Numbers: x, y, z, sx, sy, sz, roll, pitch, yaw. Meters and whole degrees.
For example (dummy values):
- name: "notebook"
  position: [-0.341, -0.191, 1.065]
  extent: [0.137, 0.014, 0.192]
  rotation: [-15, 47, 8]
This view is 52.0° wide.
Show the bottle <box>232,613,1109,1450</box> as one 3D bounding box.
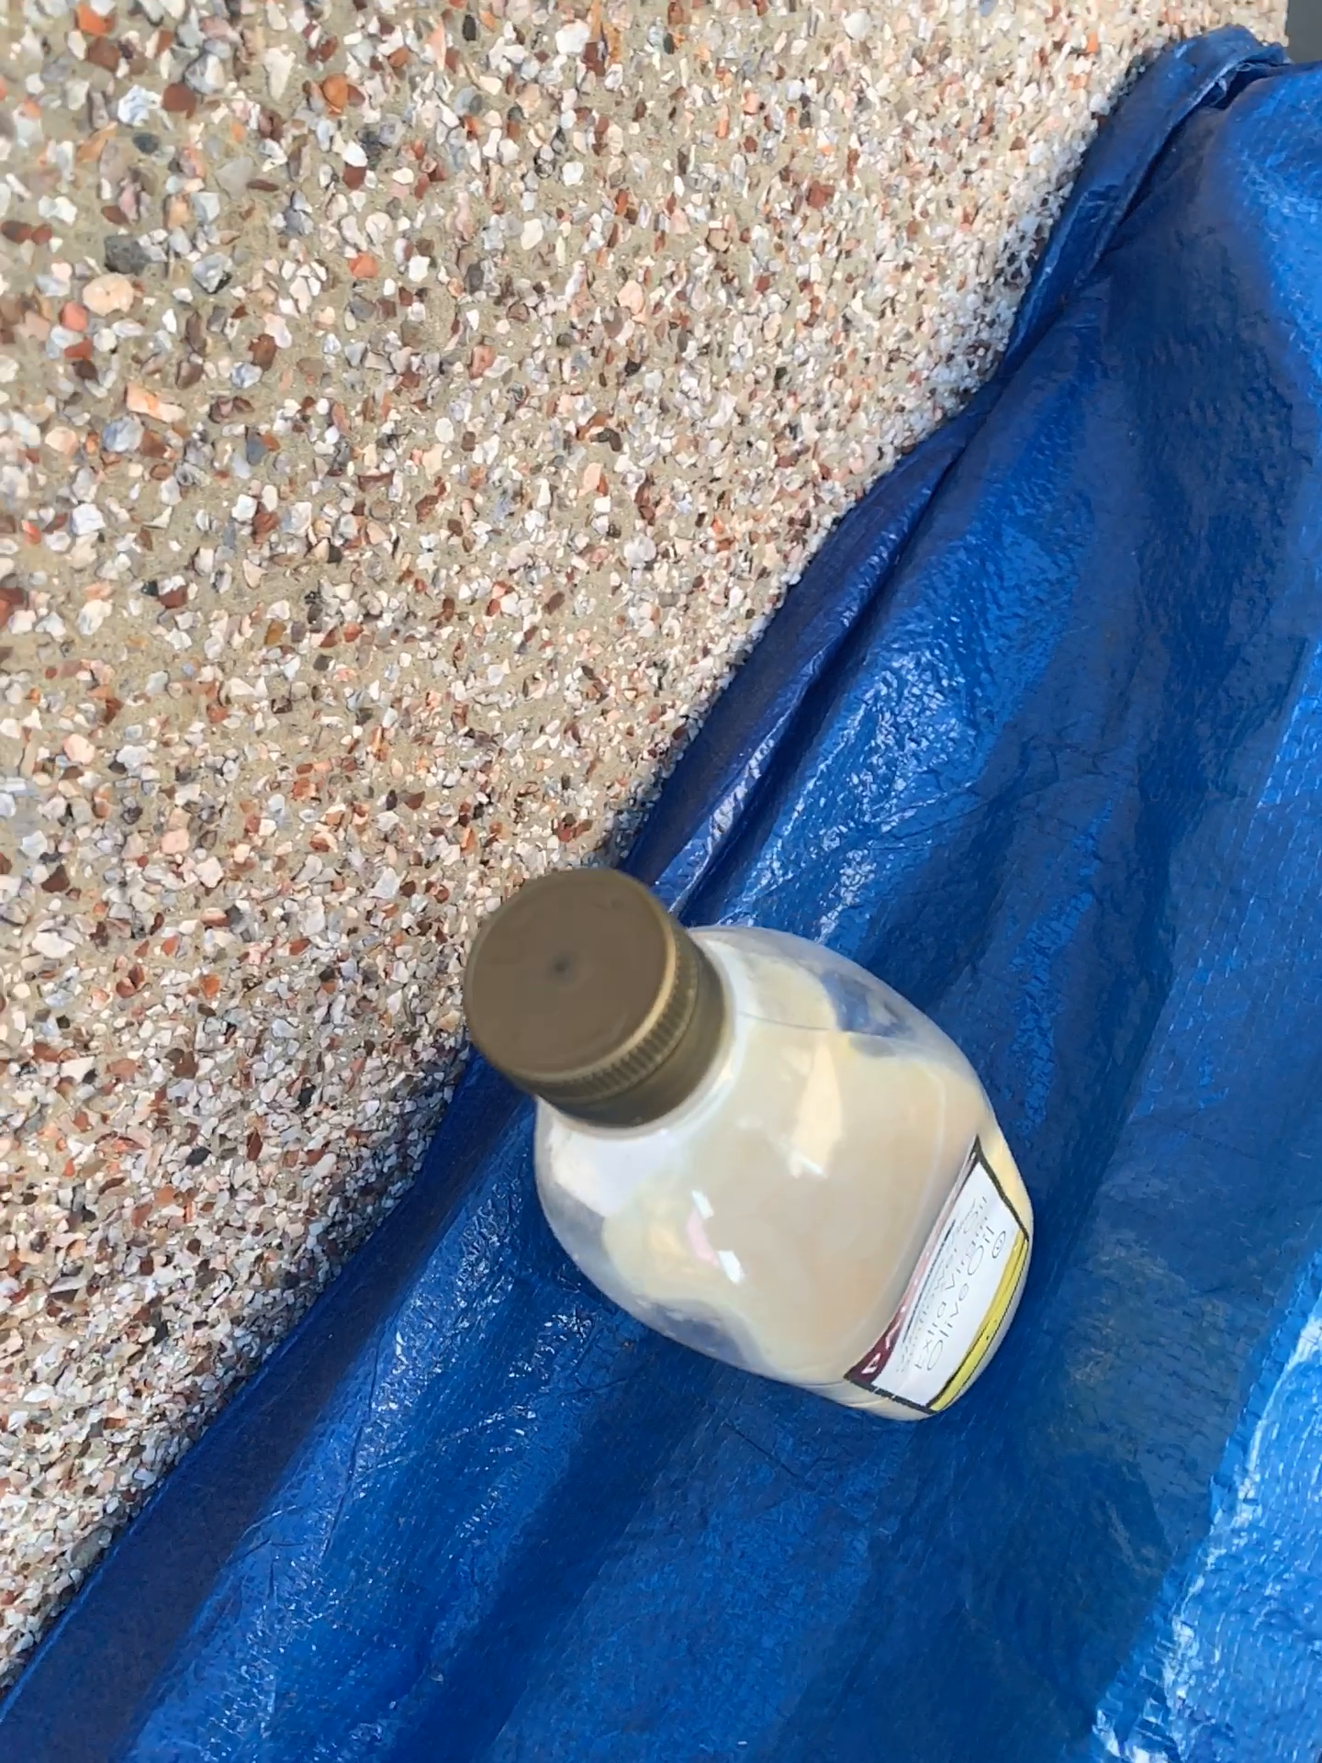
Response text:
- name: "bottle"
  position: [0.032, 0.055, 0.278]
  extent: [0.080, 0.239, 0.080]
  rotation: [-7, 66, 17]
